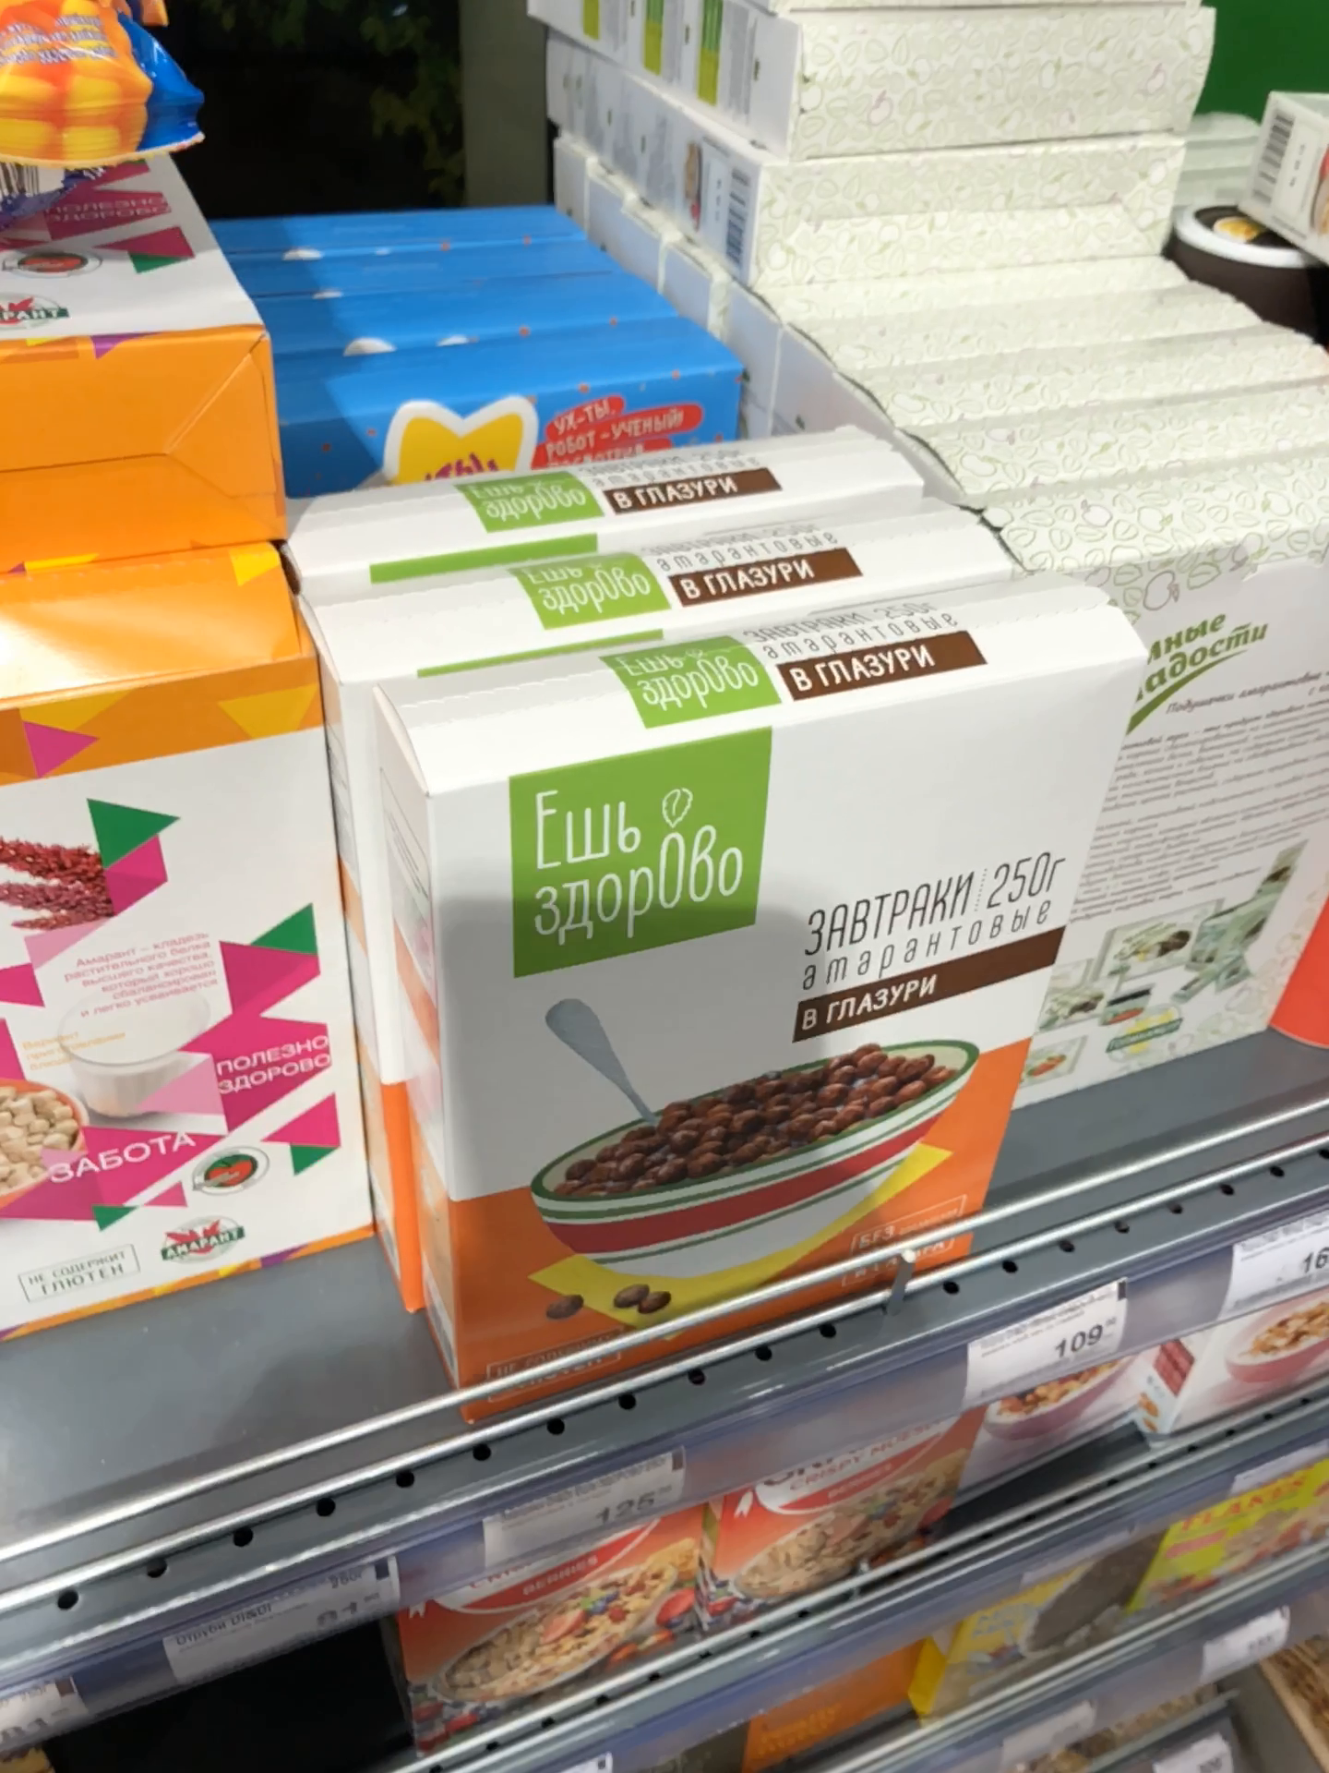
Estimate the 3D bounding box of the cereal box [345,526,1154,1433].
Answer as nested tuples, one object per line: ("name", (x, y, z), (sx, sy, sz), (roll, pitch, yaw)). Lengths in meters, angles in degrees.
("cereal box", (0.017, 0.038, 0.433), (0.190, 0.258, 0.050), (-14, 43, -20))
